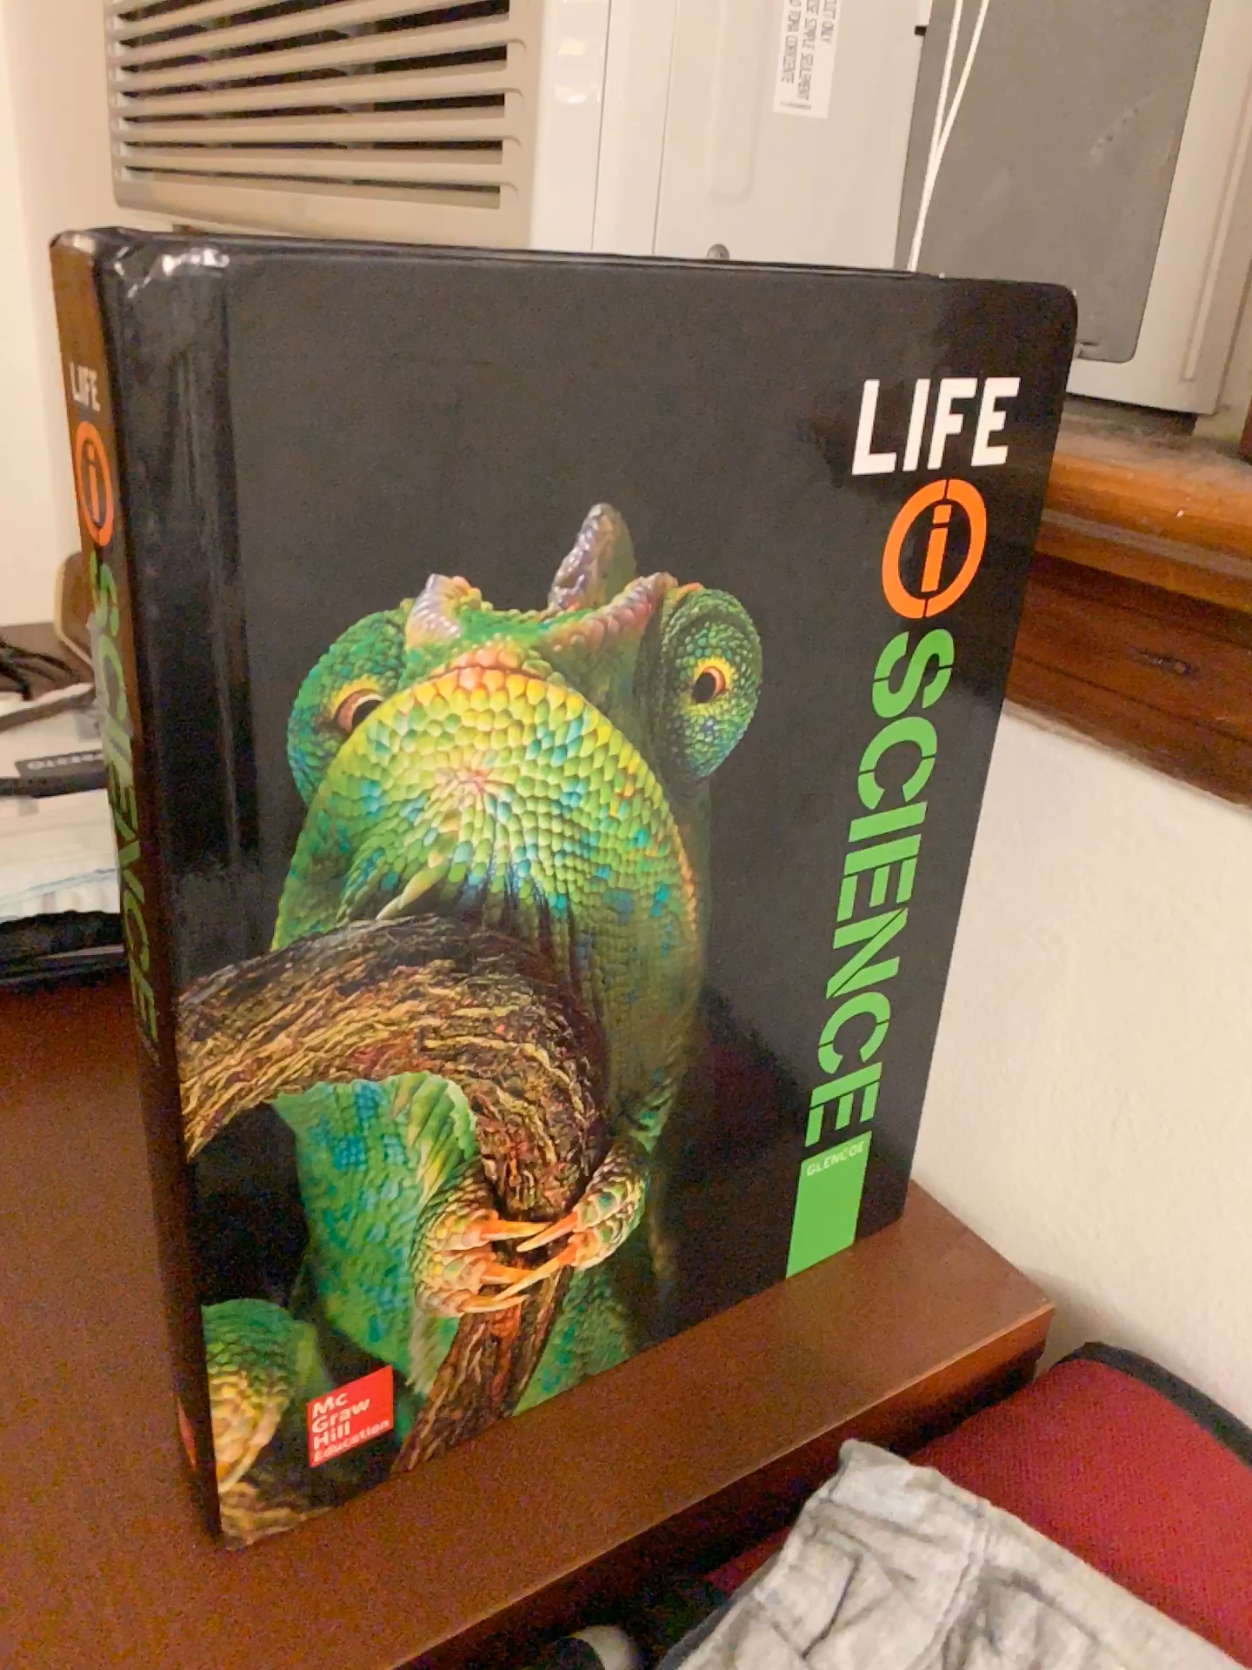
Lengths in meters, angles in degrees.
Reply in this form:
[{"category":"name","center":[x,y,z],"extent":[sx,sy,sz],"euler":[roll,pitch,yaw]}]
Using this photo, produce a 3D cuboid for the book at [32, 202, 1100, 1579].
[{"category":"book","center":[-0.005,0.011,0.322],"extent":[0.227,0.286,0.051],"euler":[-13,30,-34]}]
